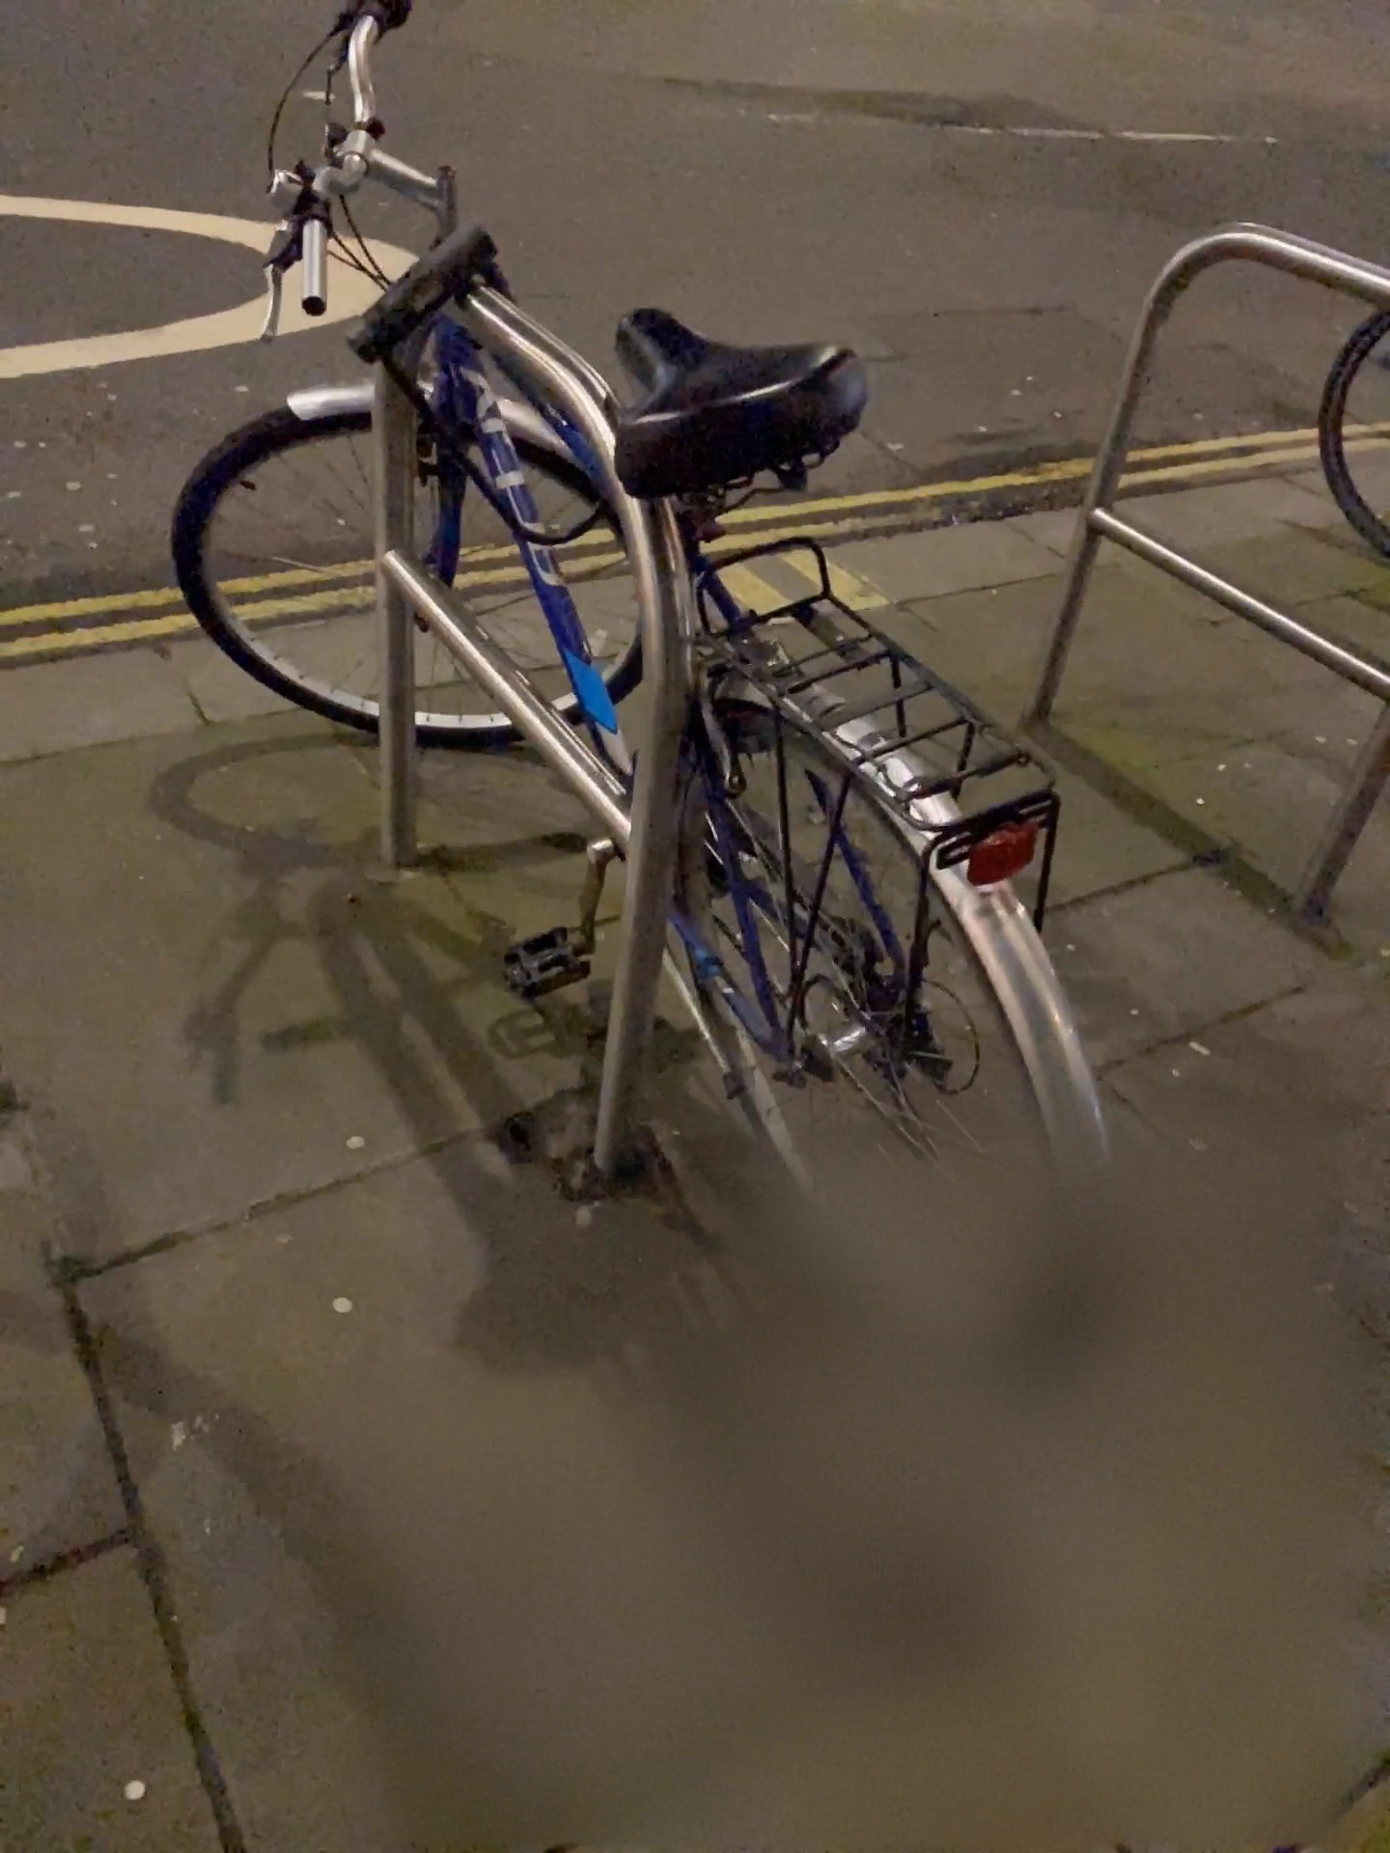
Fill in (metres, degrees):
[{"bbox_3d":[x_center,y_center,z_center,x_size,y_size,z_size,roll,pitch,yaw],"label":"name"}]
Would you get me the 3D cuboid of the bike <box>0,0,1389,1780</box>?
[{"bbox_3d":[-0.188,-0.283,1.403,0.657,1.108,1.598,-24,51,-33],"label":"bike"}]
